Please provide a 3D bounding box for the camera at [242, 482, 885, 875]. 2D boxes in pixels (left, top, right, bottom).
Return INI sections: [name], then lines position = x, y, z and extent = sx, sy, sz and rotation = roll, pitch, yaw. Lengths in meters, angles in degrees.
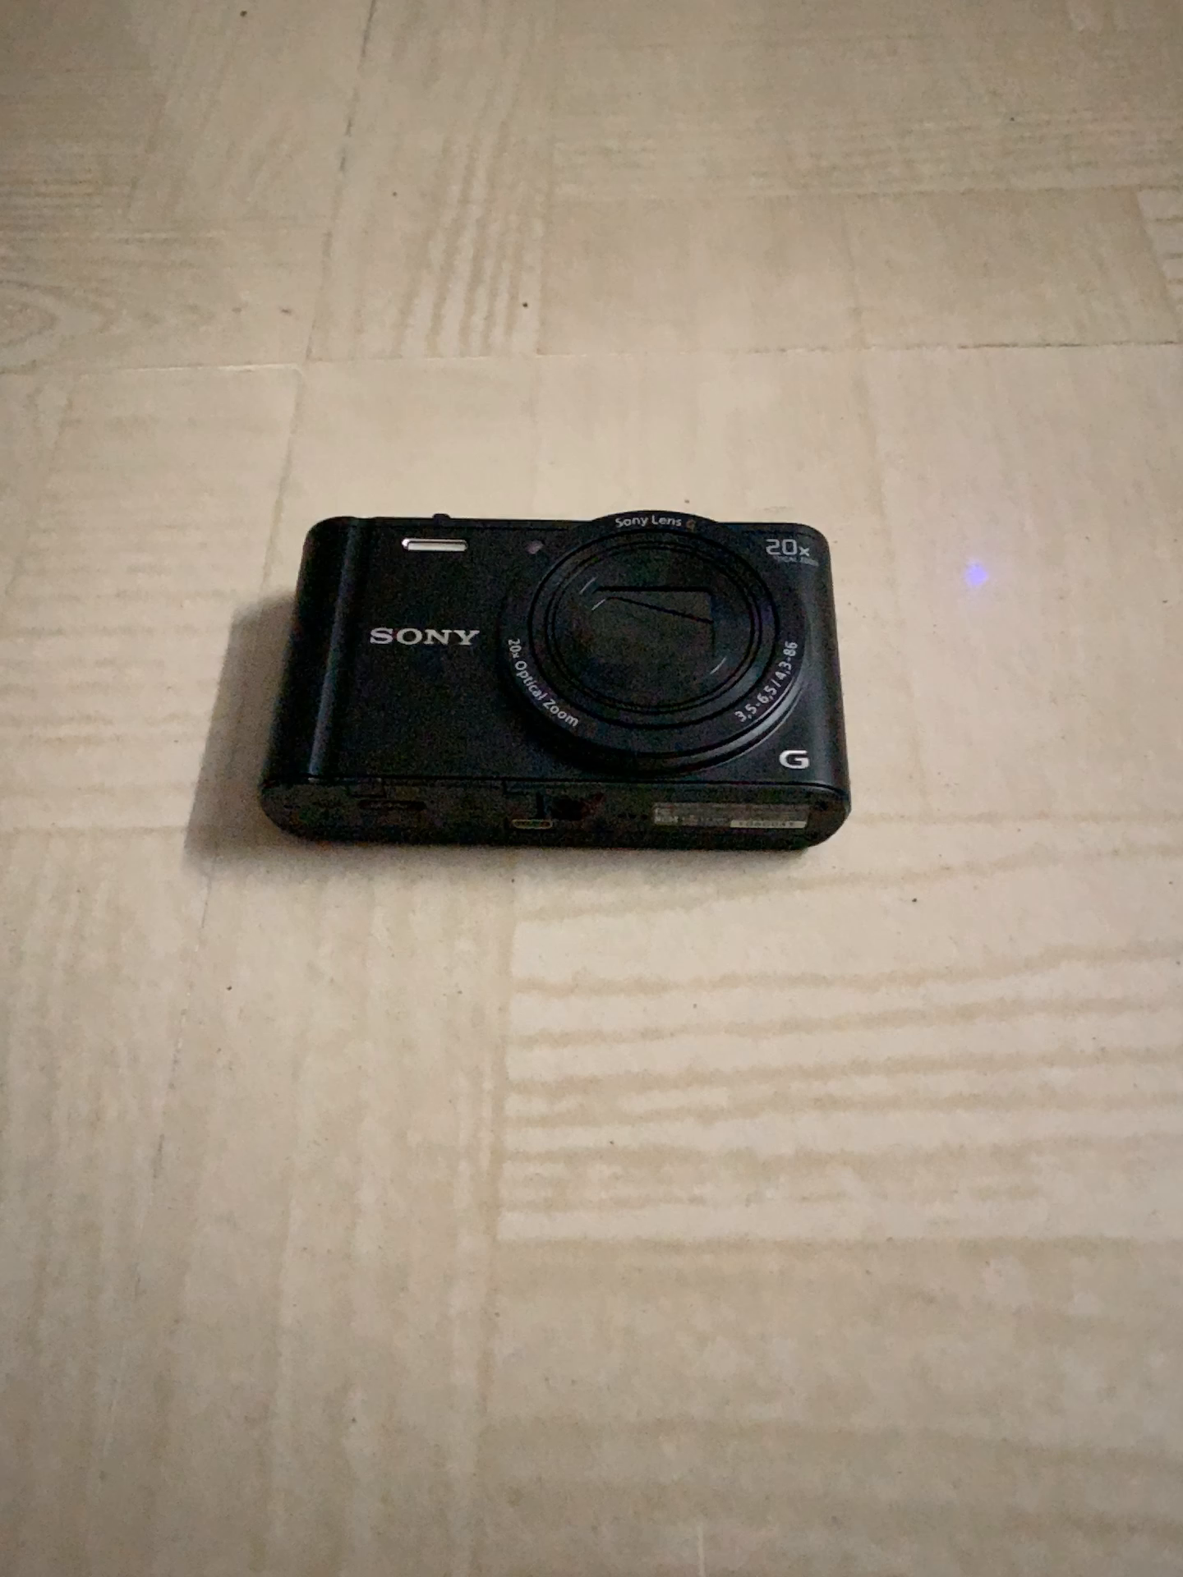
[camera]
position = -0.003, -0.019, 0.201
extent = 0.092, 0.025, 0.060
rotation = 0, 60, 3
